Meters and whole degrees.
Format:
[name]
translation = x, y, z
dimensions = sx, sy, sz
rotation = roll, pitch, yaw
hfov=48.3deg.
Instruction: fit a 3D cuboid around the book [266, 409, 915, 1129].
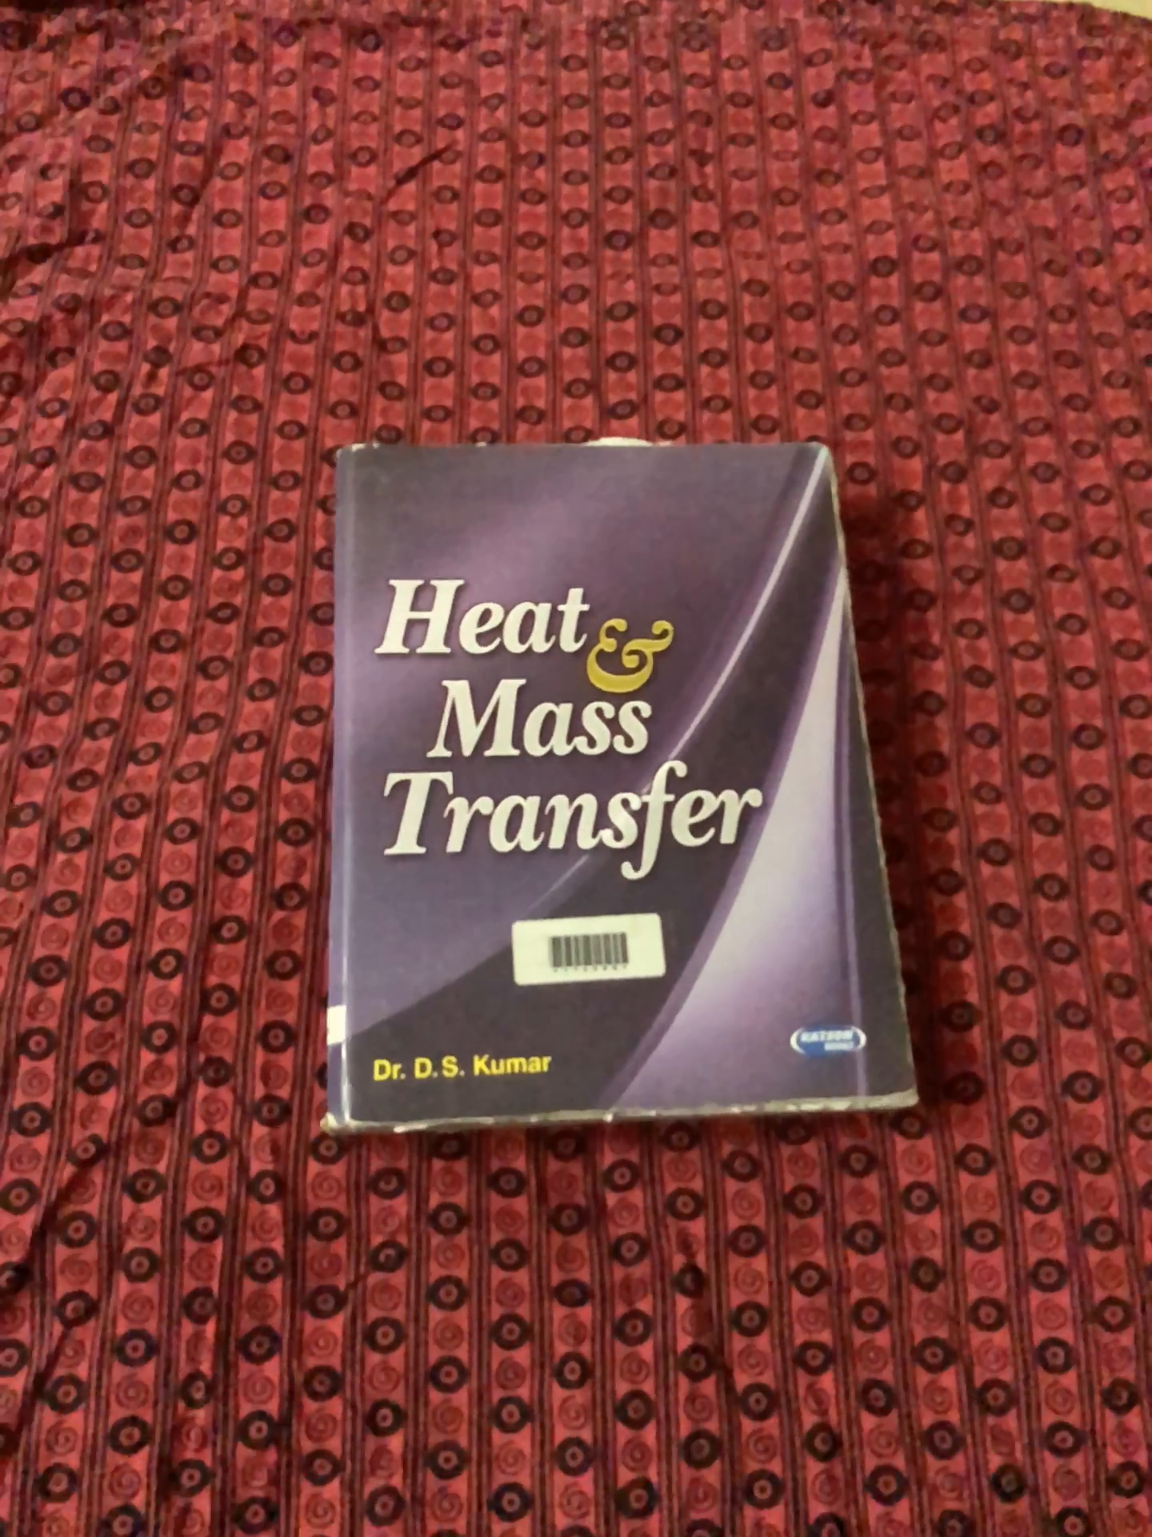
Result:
[book]
translation = 0.000, -0.005, 0.388
dimensions = 0.170, 0.040, 0.211
rotation = -2, 71, -3
